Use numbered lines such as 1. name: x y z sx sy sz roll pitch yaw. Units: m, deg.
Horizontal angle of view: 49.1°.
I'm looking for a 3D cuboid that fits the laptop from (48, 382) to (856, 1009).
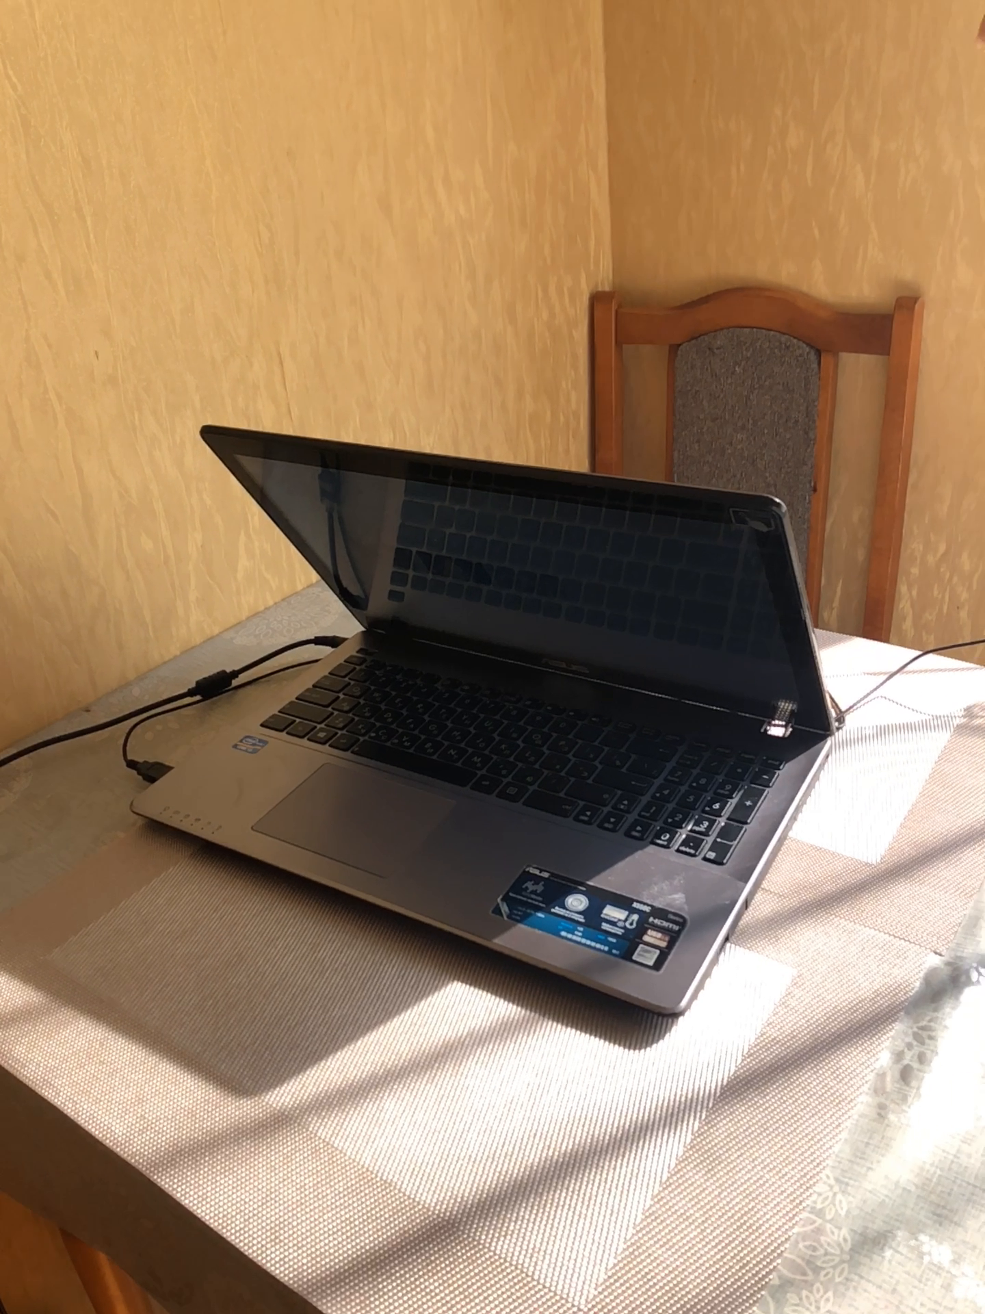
1. laptop: -0.015 -0.014 0.630 0.364 0.197 0.241 12 35 29
